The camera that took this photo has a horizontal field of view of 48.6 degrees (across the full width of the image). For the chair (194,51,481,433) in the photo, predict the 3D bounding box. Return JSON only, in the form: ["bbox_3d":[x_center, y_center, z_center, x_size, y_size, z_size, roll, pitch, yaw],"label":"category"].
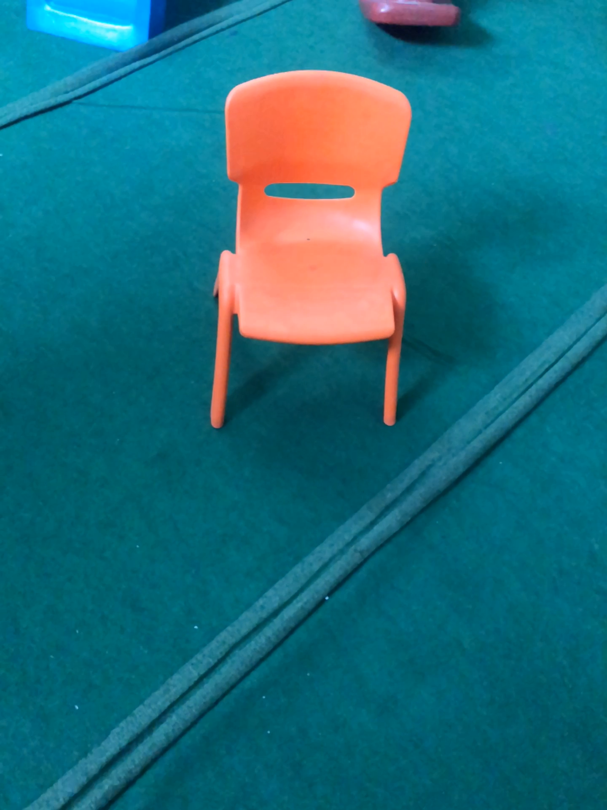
[{"bbox_3d":[0.010,-0.242,1.136,0.360,0.479,0.391,0,58,-7],"label":"chair"}]
